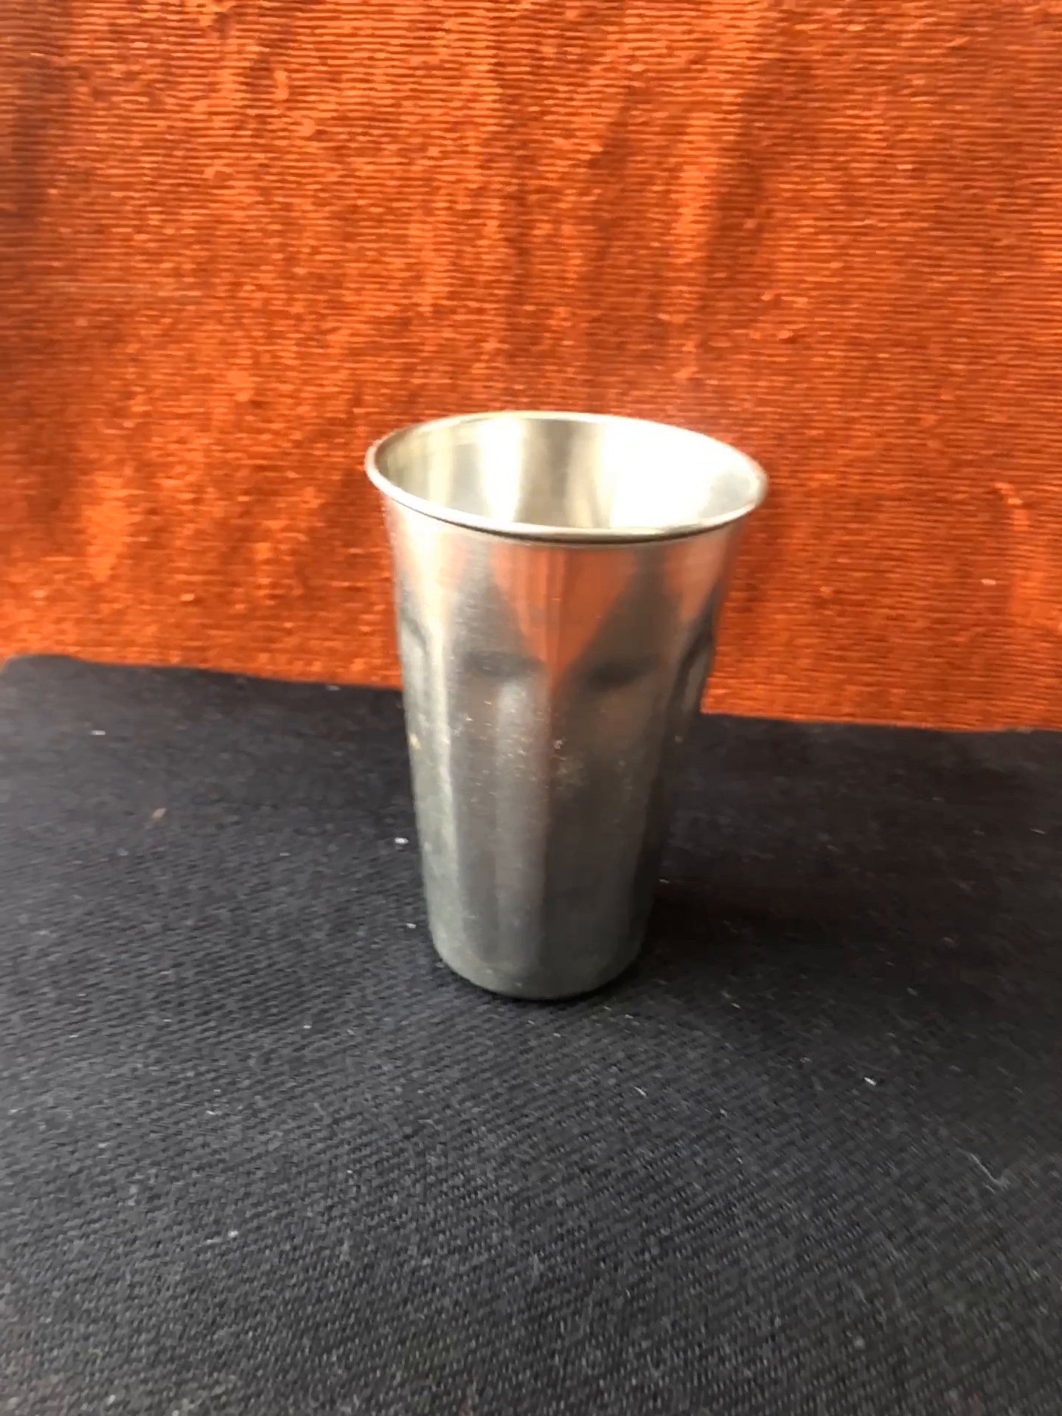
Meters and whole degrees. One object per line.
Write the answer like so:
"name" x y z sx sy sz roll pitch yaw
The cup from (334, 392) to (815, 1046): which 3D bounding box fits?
"cup" 0.005 0.000 0.227 0.070 0.099 0.070 3 27 -1
